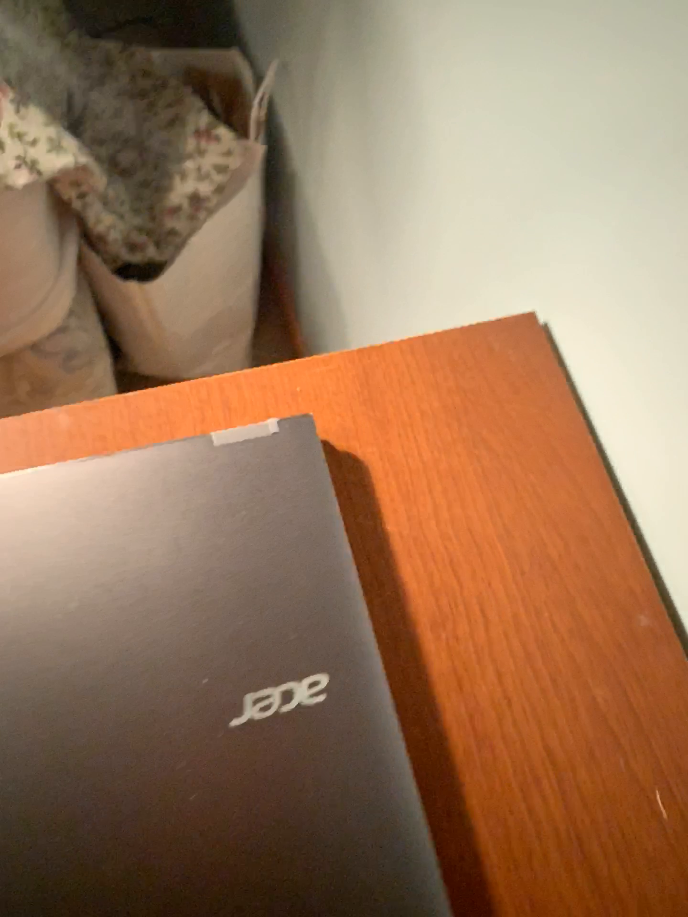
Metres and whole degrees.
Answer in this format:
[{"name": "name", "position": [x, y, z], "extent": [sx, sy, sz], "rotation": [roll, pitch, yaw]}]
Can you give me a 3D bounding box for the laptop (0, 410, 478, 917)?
[{"name": "laptop", "position": [-0.125, 0.113, 0.270], "extent": [0.299, 0.002, 0.233], "rotation": [-12, 70, -11]}]
